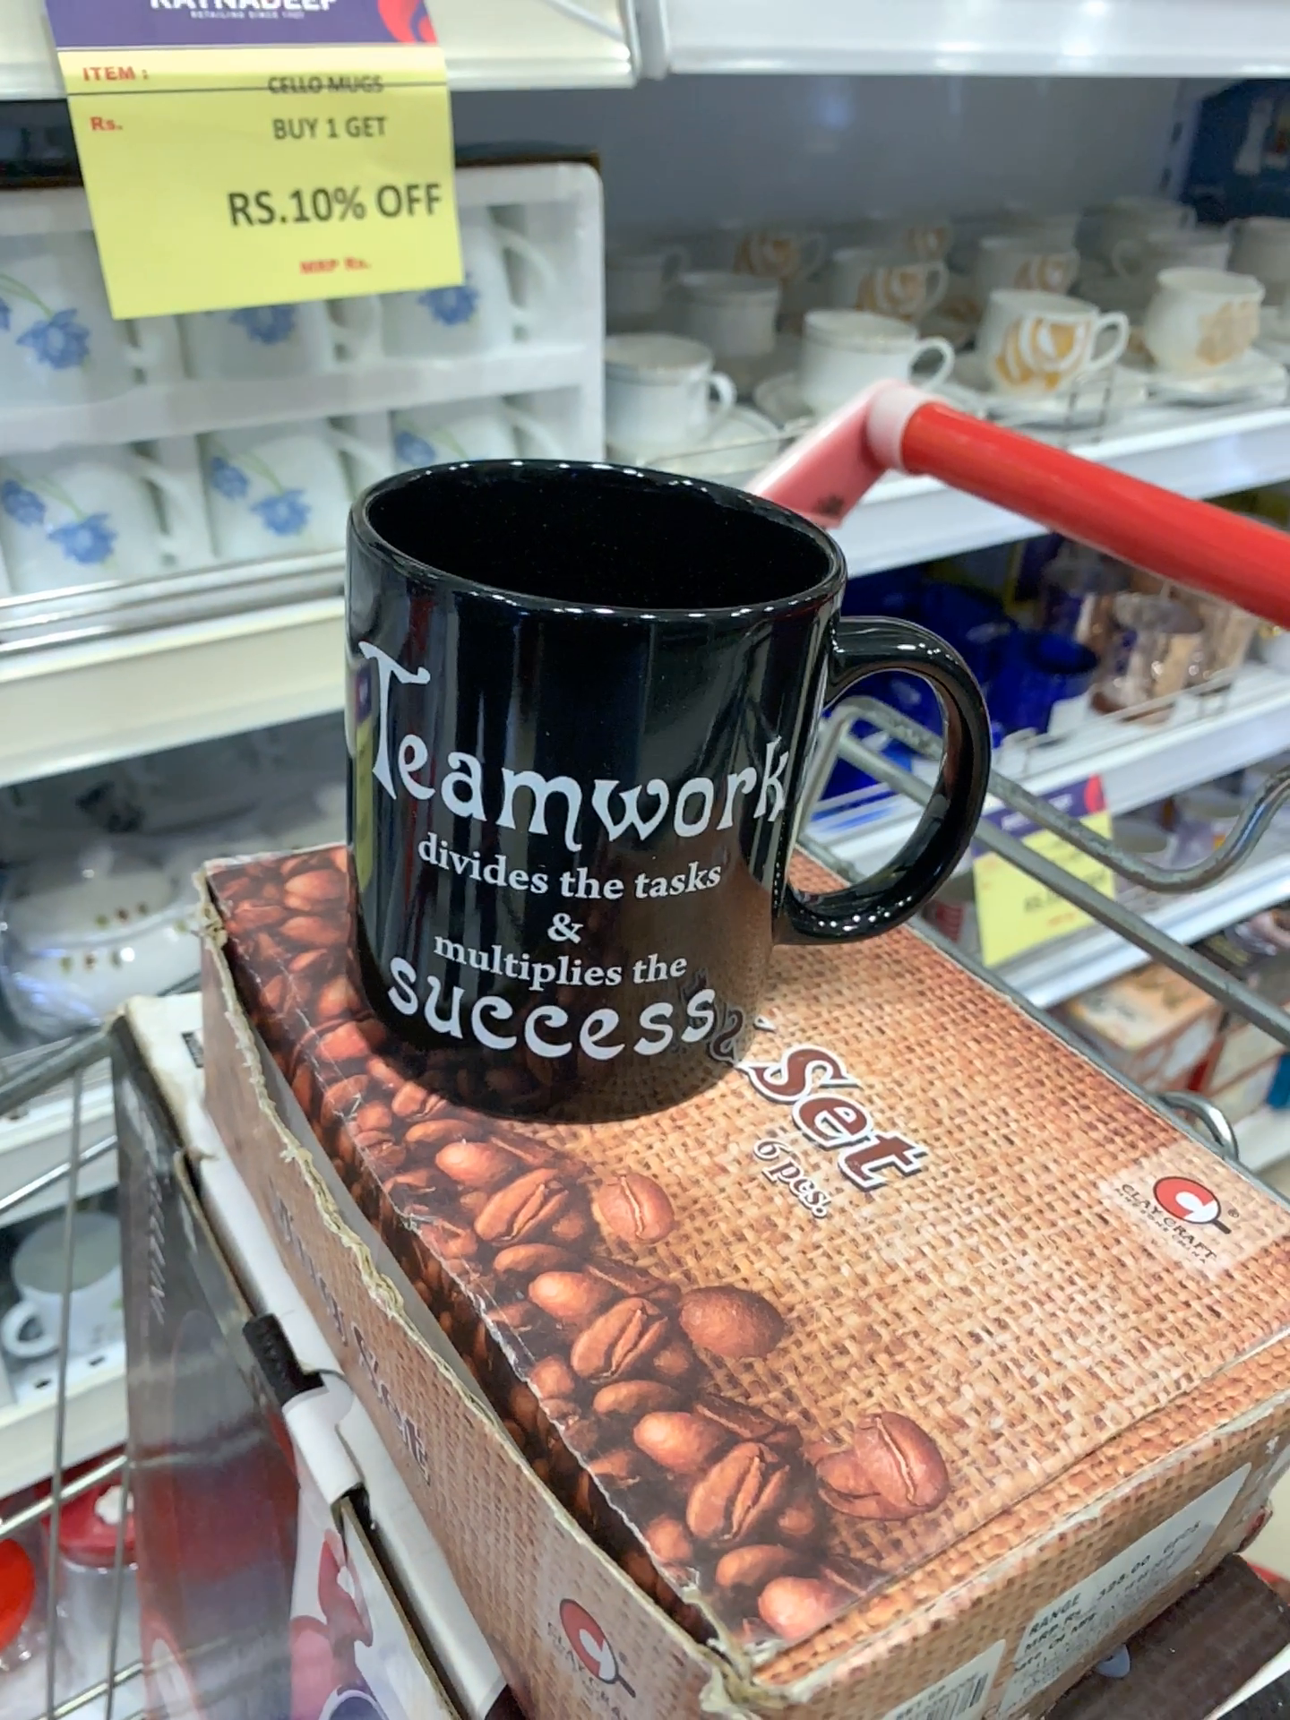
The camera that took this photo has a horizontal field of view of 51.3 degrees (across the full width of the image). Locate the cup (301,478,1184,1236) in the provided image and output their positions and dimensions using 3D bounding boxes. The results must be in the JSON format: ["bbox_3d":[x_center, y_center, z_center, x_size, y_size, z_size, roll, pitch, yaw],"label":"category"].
[{"bbox_3d":[0.005,0.001,0.239,0.120,0.100,0.080,4,34,-11],"label":"cup"}]
